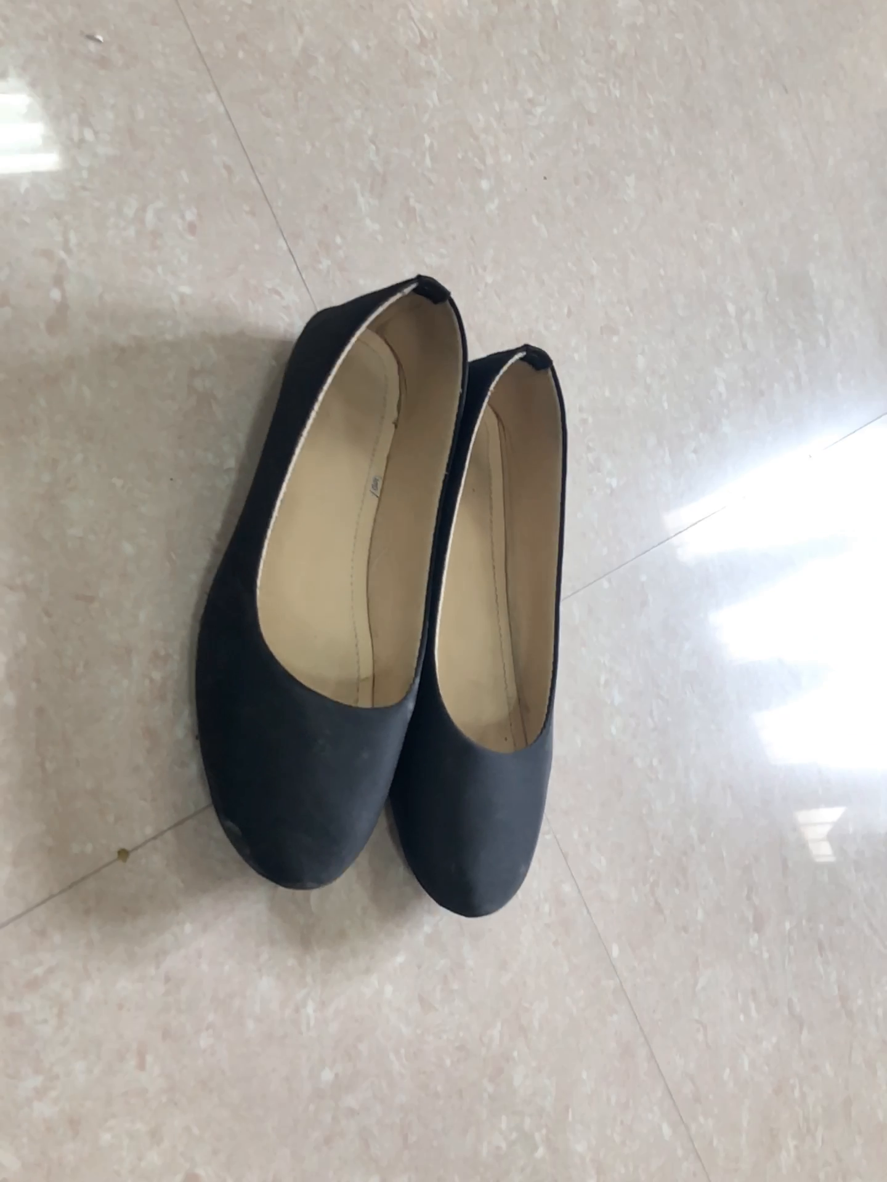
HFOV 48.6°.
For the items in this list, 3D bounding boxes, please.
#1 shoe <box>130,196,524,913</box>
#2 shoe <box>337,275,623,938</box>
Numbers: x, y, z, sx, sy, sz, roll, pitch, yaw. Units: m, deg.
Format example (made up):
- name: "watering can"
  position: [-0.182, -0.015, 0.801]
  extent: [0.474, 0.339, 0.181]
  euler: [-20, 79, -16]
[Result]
- name: "shoe"
  position: [-0.036, -0.014, 0.379]
  extent: [0.090, 0.060, 0.250]
  euler: [22, 67, -33]
- name: "shoe"
  position: [0.020, 0.009, 0.407]
  extent: [0.090, 0.060, 0.250]
  euler: [15, 71, -36]
